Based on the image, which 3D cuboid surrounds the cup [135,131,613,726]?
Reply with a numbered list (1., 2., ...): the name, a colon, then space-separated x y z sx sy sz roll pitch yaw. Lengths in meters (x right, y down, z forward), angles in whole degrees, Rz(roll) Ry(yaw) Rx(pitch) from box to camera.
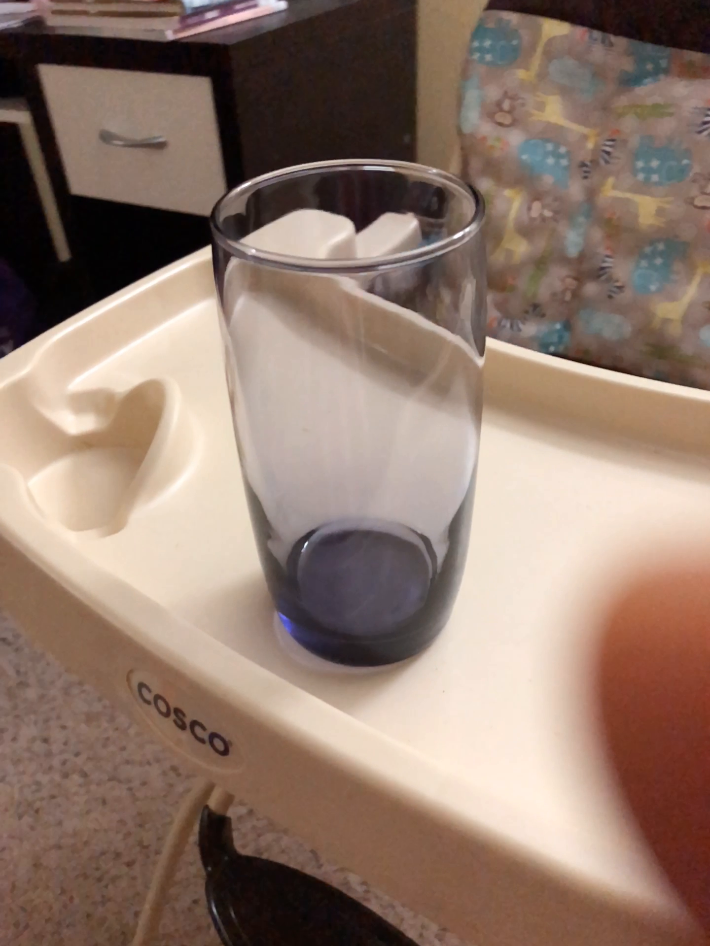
1. cup: 0.005 -0.014 0.237 0.084 0.134 0.084 -2 39 2
